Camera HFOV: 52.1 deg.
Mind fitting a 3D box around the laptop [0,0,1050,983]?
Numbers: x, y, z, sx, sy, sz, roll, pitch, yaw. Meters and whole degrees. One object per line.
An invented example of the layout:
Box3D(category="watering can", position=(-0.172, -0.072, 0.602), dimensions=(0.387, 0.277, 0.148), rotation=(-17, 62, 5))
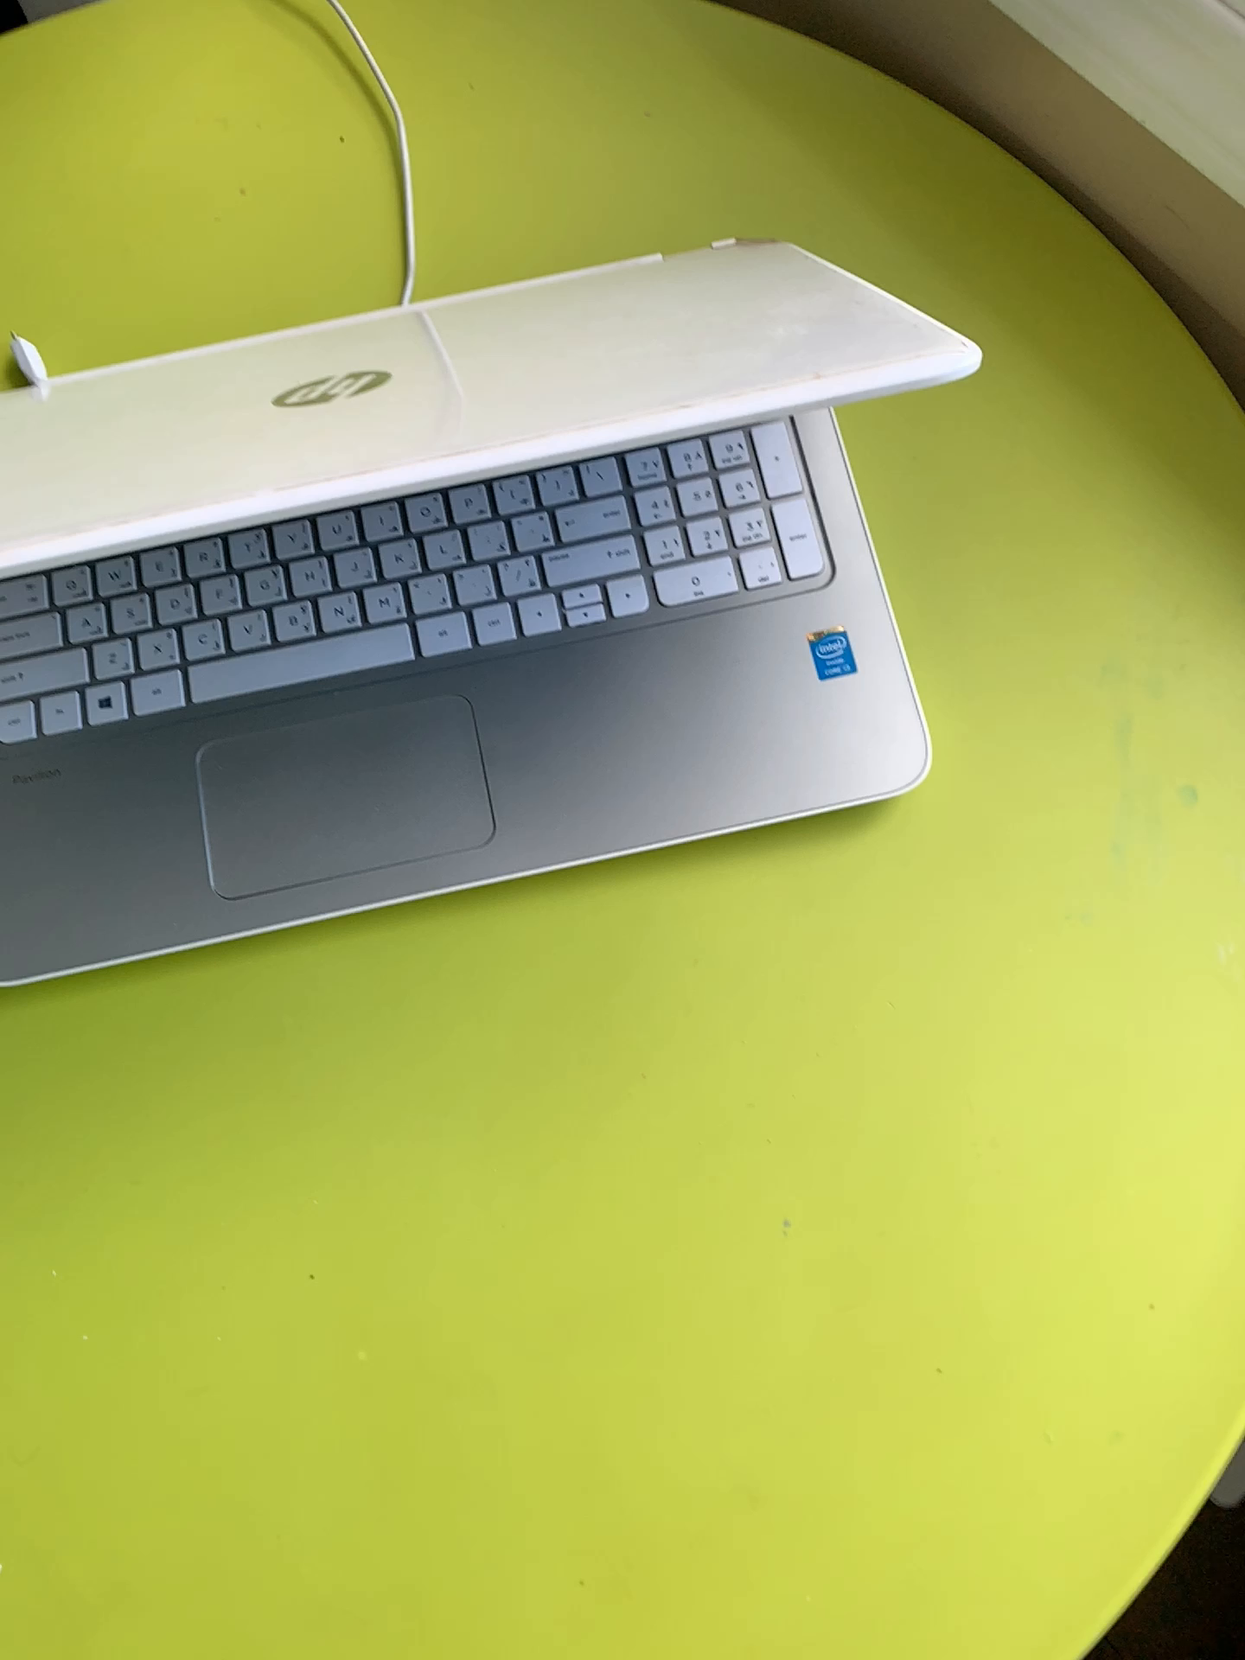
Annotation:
Box3D(category="laptop", position=(-0.091, -0.120, 0.434), dimensions=(0.367, 0.163, 0.243), rotation=(-12, 73, -2))
